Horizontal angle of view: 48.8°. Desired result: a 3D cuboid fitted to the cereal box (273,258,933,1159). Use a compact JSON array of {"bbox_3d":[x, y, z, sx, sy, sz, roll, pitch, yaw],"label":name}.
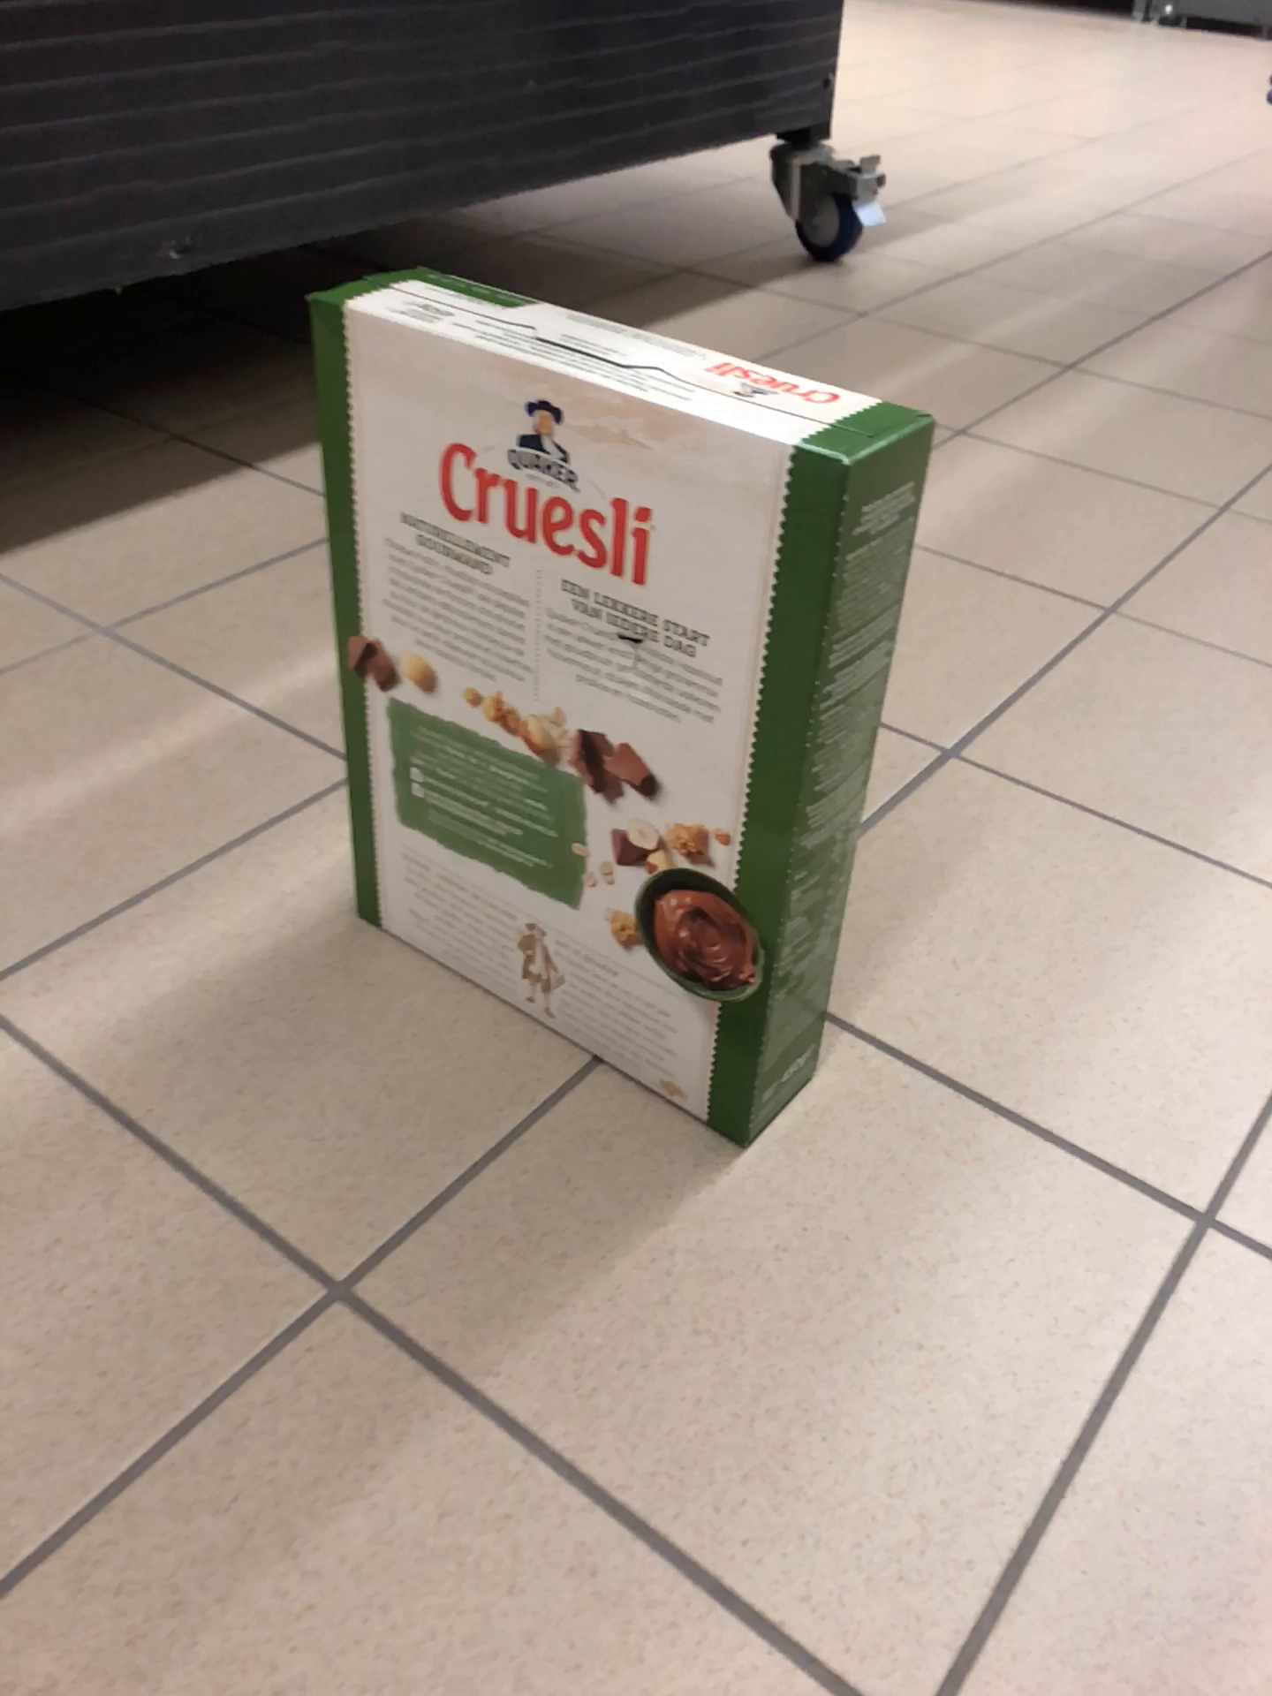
[{"bbox_3d":[-0.022,-0.044,0.461,0.190,0.238,0.060,27,42,29],"label":"cereal box"}]
